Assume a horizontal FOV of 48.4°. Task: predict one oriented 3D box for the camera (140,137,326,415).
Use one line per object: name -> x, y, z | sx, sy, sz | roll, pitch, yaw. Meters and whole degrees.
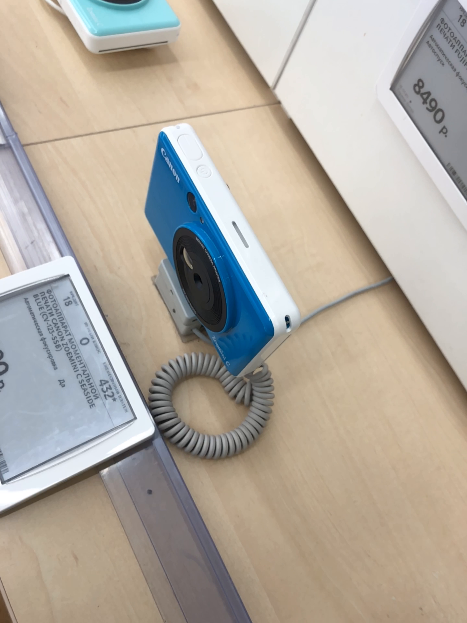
camera -> -0.008, -0.016, 0.266 | 0.030, 0.070, 0.120 | -21, 73, -22
